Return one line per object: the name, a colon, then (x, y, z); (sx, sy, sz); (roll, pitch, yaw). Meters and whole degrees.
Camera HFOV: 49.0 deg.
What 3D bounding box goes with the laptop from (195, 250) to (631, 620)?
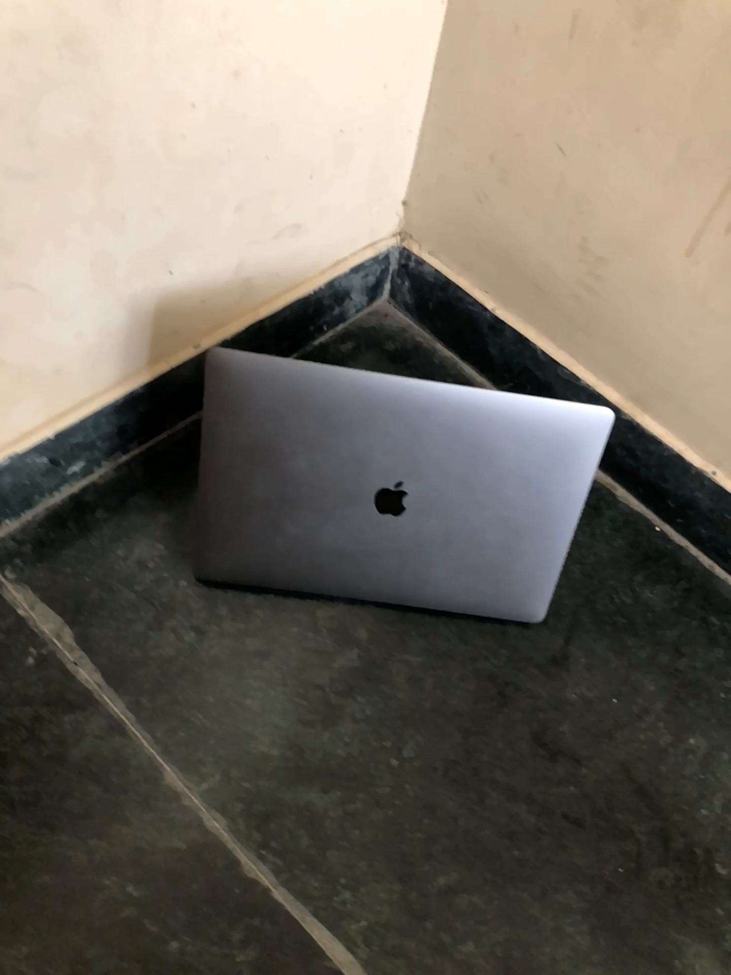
laptop: (0.032, -0.043, 0.742); (0.329, 0.198, 0.222); (8, 56, -2)
